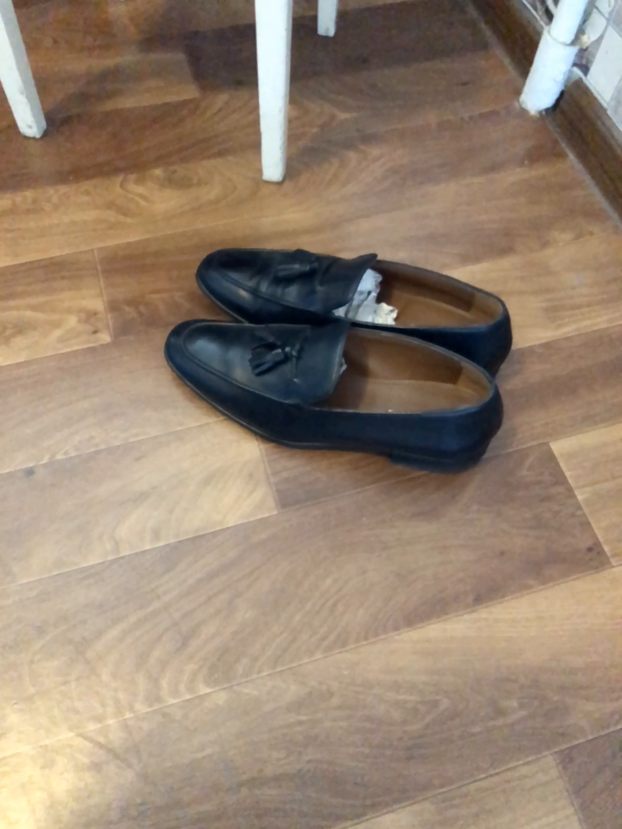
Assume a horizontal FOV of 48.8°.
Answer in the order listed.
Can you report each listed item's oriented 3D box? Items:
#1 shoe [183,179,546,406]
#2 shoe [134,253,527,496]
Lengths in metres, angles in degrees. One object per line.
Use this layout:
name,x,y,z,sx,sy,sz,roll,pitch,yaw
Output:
shoe,0.041,-0.097,0.539,0.253,0.068,0.100,15,62,7
shoe,0.015,-0.031,0.500,0.253,0.068,0.100,14,62,6
